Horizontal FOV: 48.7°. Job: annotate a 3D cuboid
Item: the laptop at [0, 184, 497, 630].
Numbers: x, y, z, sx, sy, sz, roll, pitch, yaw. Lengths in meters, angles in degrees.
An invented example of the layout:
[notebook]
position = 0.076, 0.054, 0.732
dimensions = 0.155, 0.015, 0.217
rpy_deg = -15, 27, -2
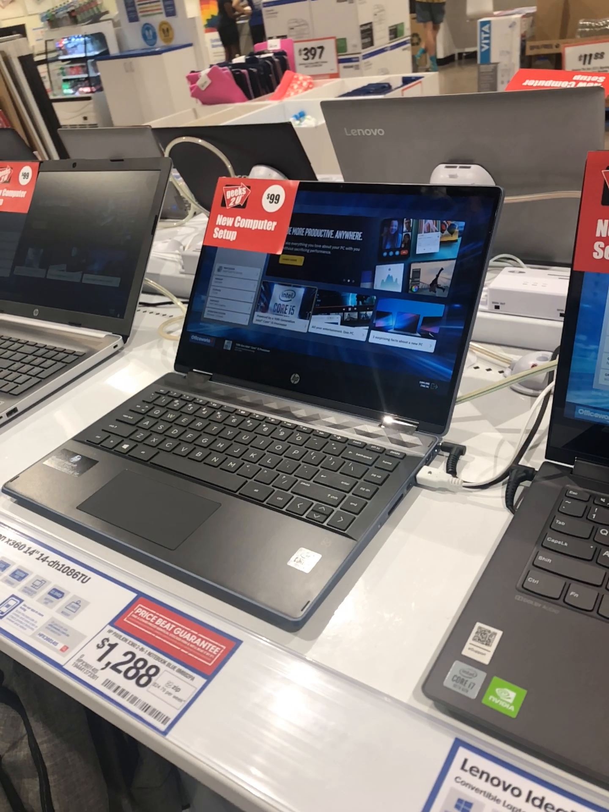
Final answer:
[laptop]
position = -0.056, -0.051, 0.568
dimensions = 0.315, 0.165, 0.350
rpy_deg = 14, 38, 32
